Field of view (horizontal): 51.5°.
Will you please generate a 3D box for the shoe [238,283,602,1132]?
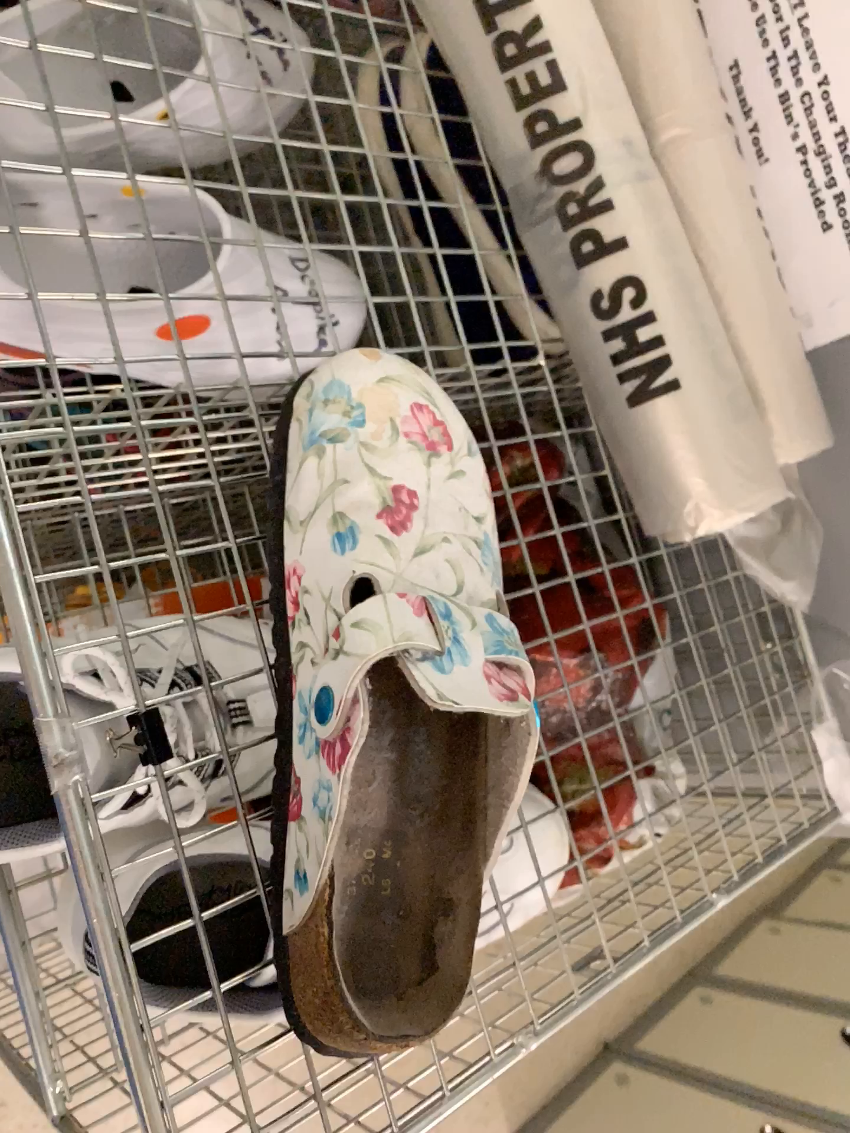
[{"bbox_3d":[-0.005,0.043,0.324,0.100,0.070,0.259,7,75,-34],"label":"shoe"}]
